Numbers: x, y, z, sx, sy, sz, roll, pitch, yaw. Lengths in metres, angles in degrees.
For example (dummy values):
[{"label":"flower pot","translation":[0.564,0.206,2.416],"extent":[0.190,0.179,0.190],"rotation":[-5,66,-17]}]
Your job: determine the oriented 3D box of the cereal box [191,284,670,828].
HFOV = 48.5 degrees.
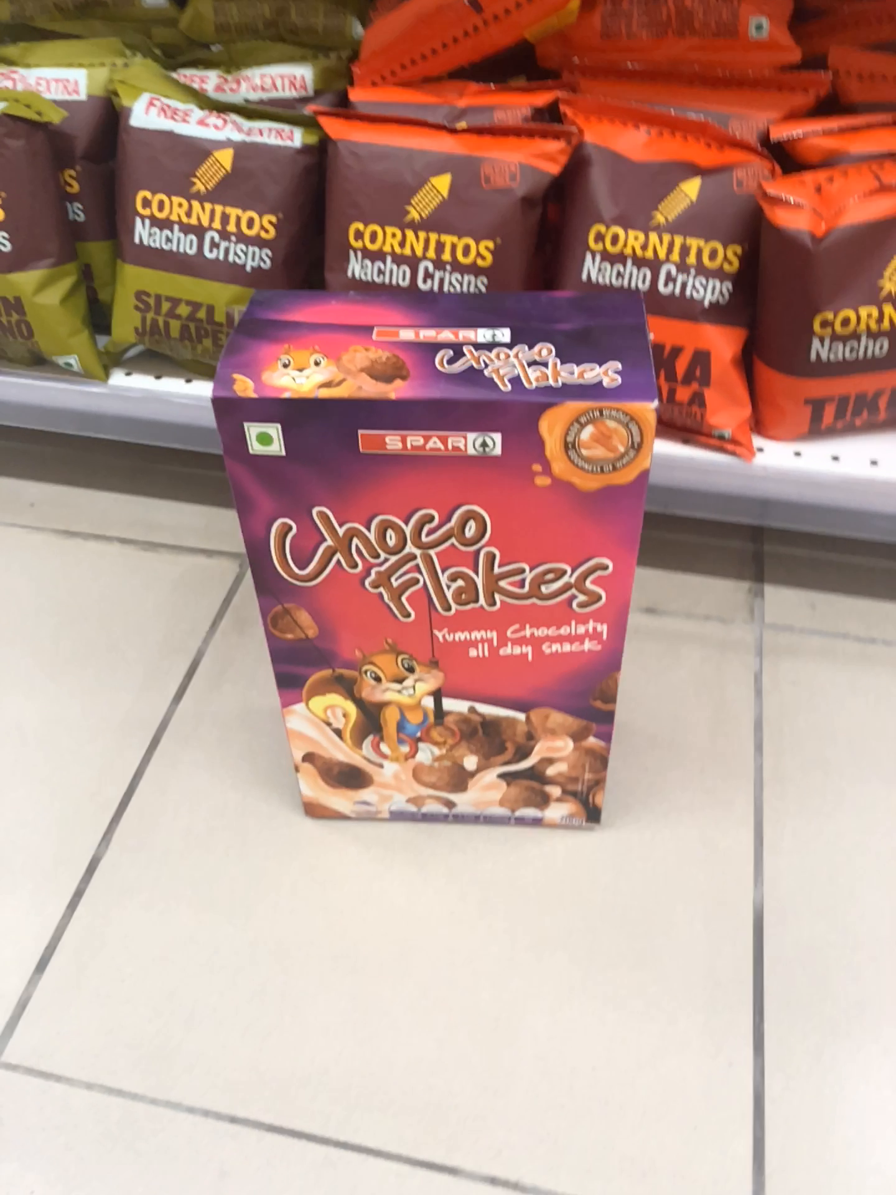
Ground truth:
[{"label":"cereal box","translation":[-0.002,0.000,0.567],"extent":[0.200,0.339,0.090],"rotation":[1,46,3]}]
